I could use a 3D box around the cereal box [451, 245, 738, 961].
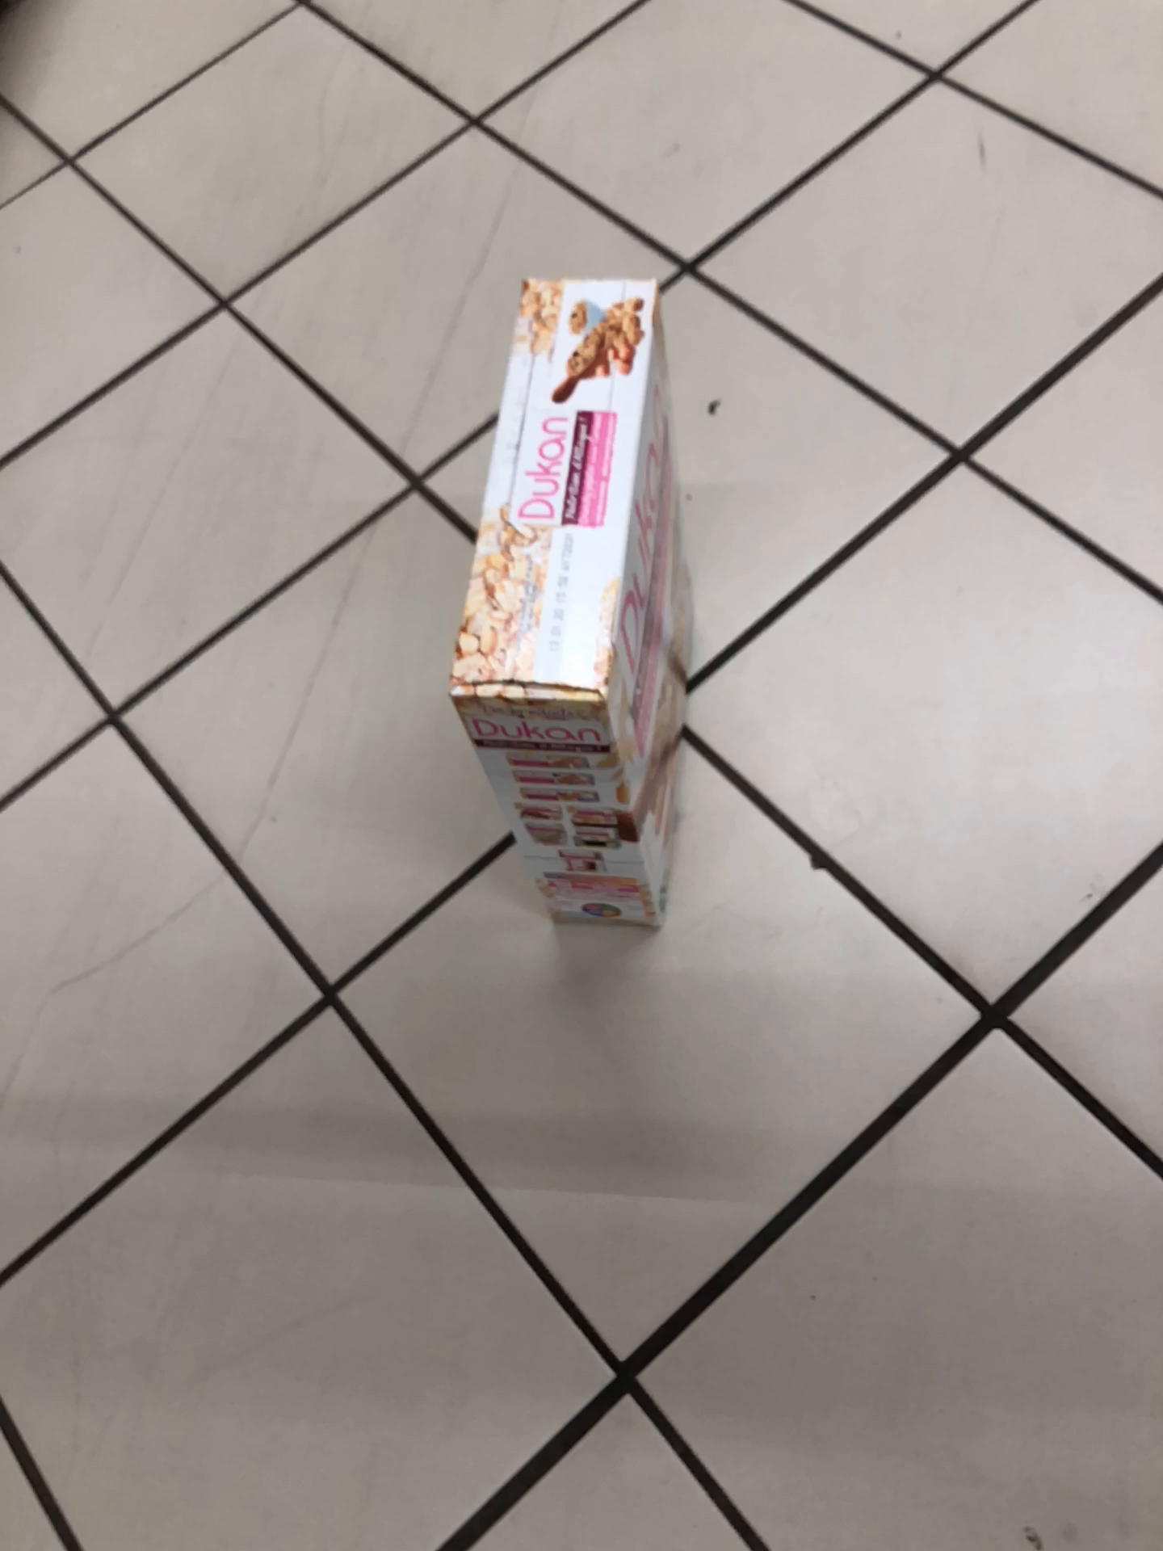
[{"bbox_3d":[0.019,-0.054,0.496,0.060,0.199,0.191,1,63,11],"label":"cereal box"}]
